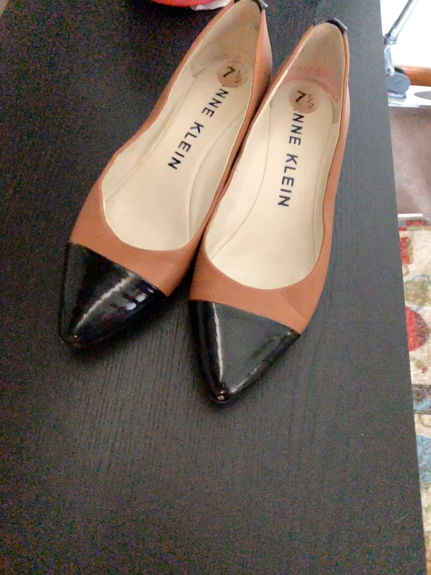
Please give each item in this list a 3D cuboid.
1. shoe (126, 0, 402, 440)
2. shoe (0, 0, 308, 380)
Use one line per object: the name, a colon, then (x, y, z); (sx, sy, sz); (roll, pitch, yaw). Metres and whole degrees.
shoe: (0.035, -0.046, 0.305); (0.090, 0.080, 0.261); (18, 80, 4)
shoe: (-0.032, -0.074, 0.306); (0.080, 0.080, 0.261); (25, 79, 5)
